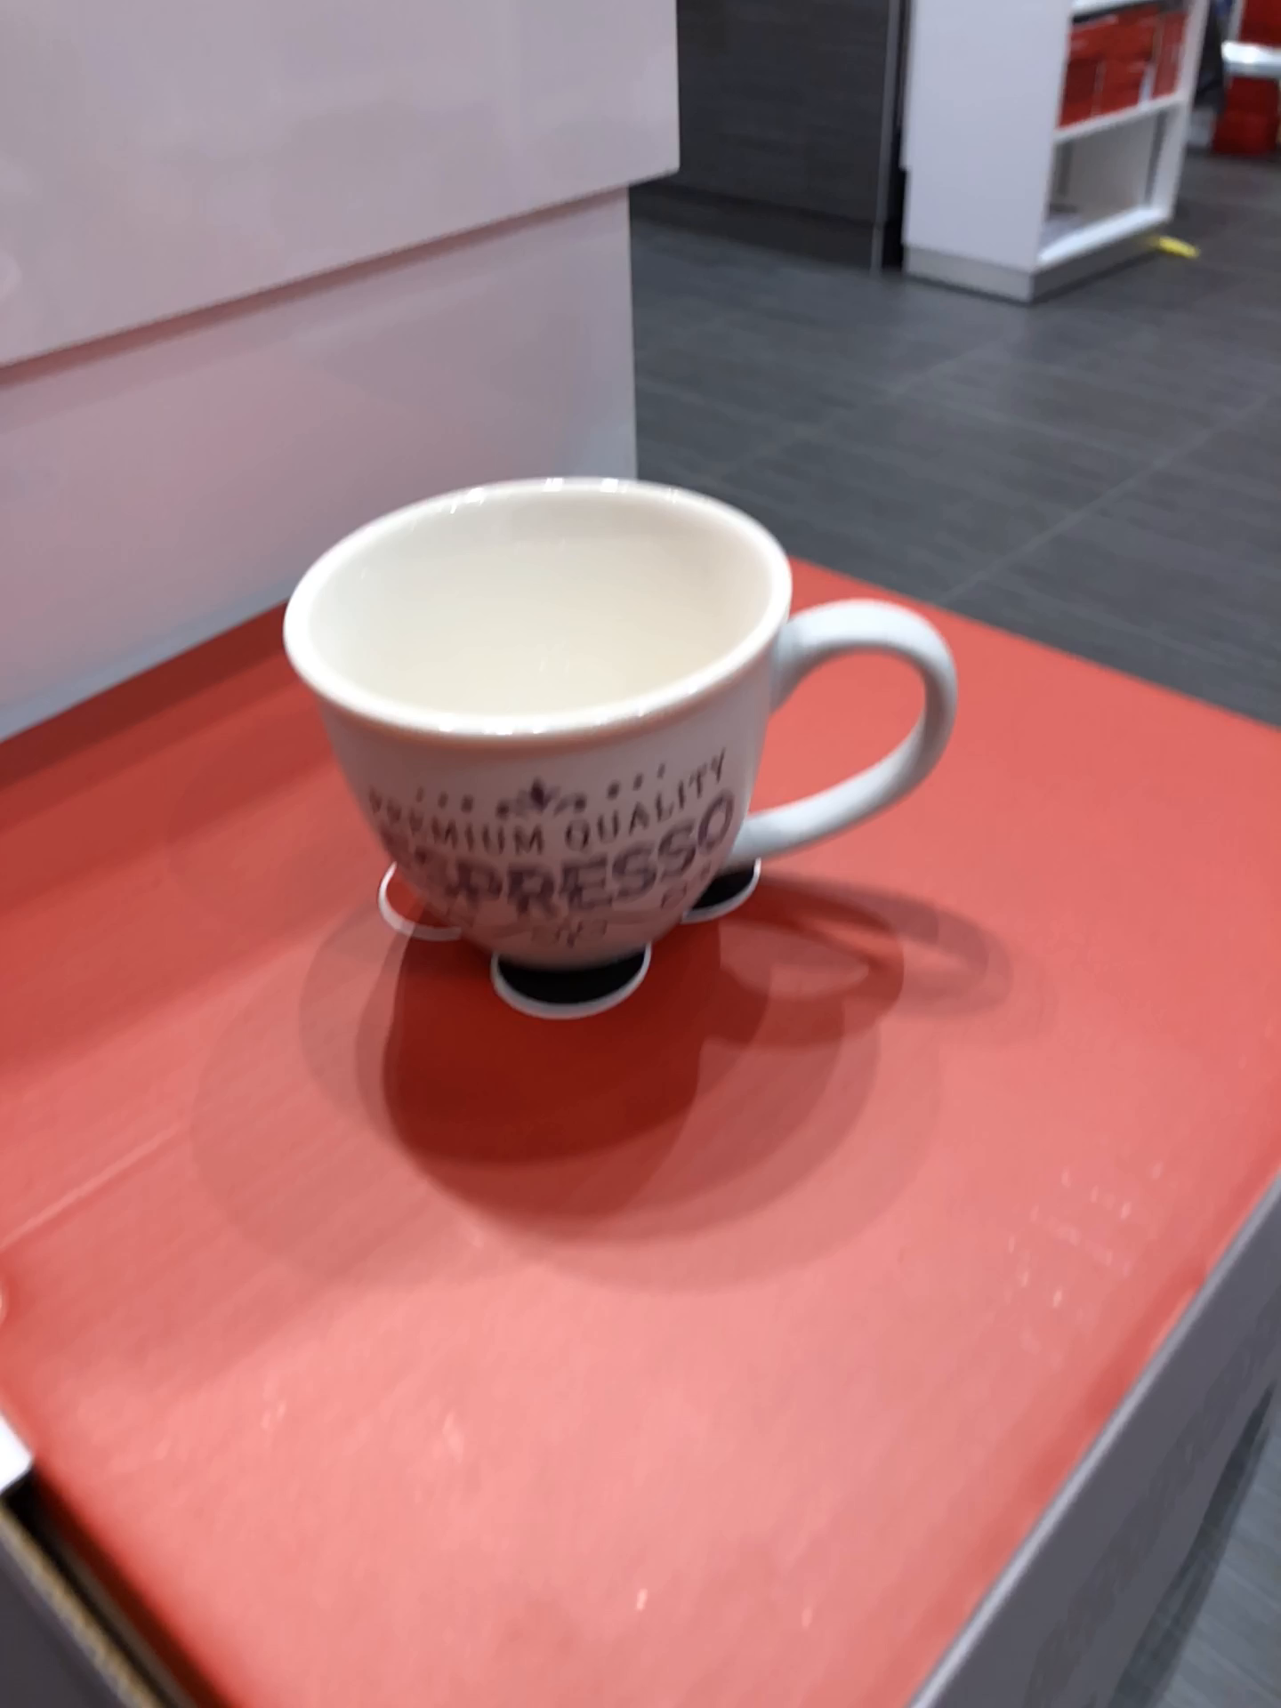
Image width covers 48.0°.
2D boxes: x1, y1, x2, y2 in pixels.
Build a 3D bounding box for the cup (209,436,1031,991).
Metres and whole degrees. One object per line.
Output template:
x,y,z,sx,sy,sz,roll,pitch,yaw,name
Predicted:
-0.001,-0.023,0.201,0.090,0.040,0.080,0,37,3,cup
